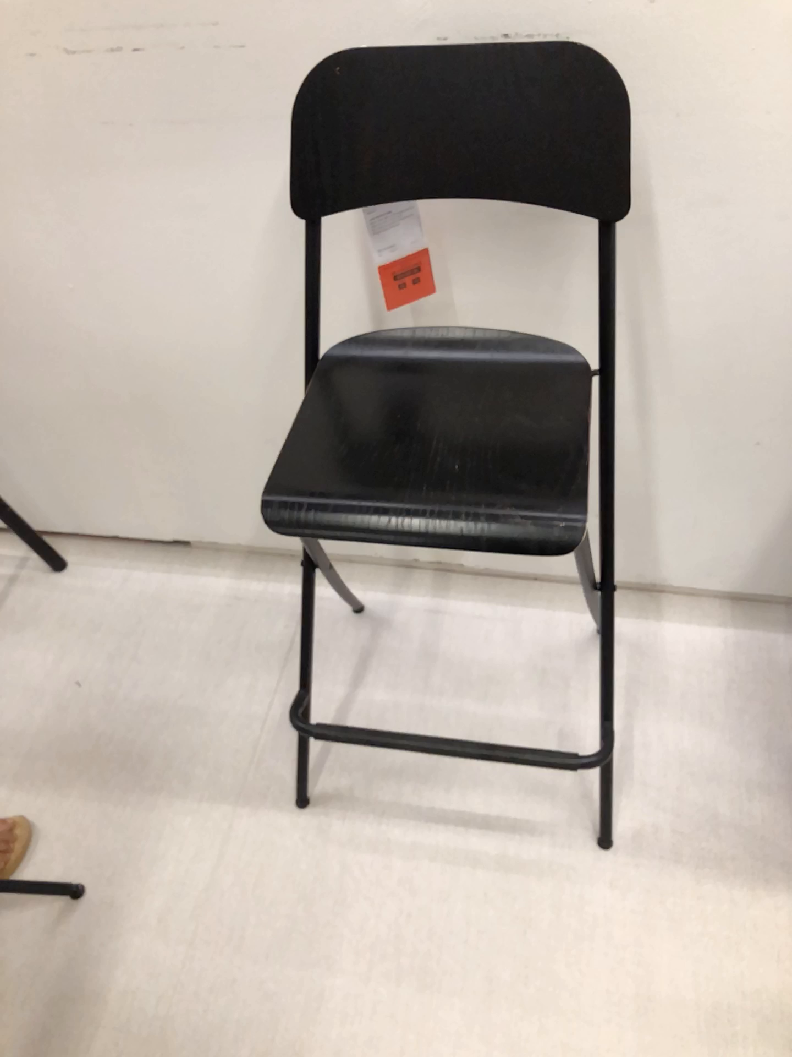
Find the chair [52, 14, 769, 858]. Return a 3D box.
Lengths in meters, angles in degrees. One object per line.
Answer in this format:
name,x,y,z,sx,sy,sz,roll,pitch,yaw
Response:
chair,0.075,-0.042,1.065,0.490,0.884,0.473,4,48,11
